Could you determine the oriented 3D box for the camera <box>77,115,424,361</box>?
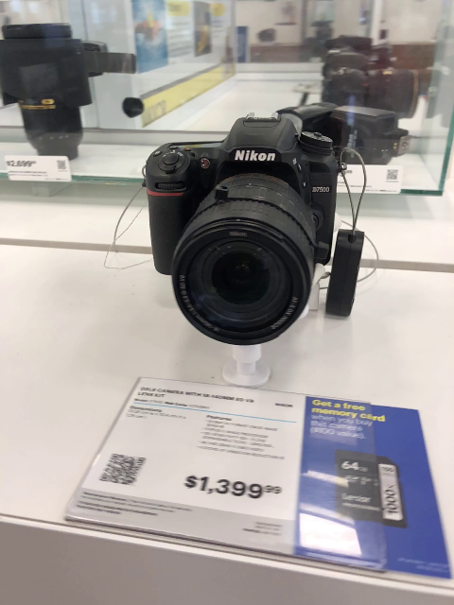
[{"bbox_3d":[0.018,-0.056,0.331,0.160,0.100,0.171,2,29,6],"label":"camera"}]
